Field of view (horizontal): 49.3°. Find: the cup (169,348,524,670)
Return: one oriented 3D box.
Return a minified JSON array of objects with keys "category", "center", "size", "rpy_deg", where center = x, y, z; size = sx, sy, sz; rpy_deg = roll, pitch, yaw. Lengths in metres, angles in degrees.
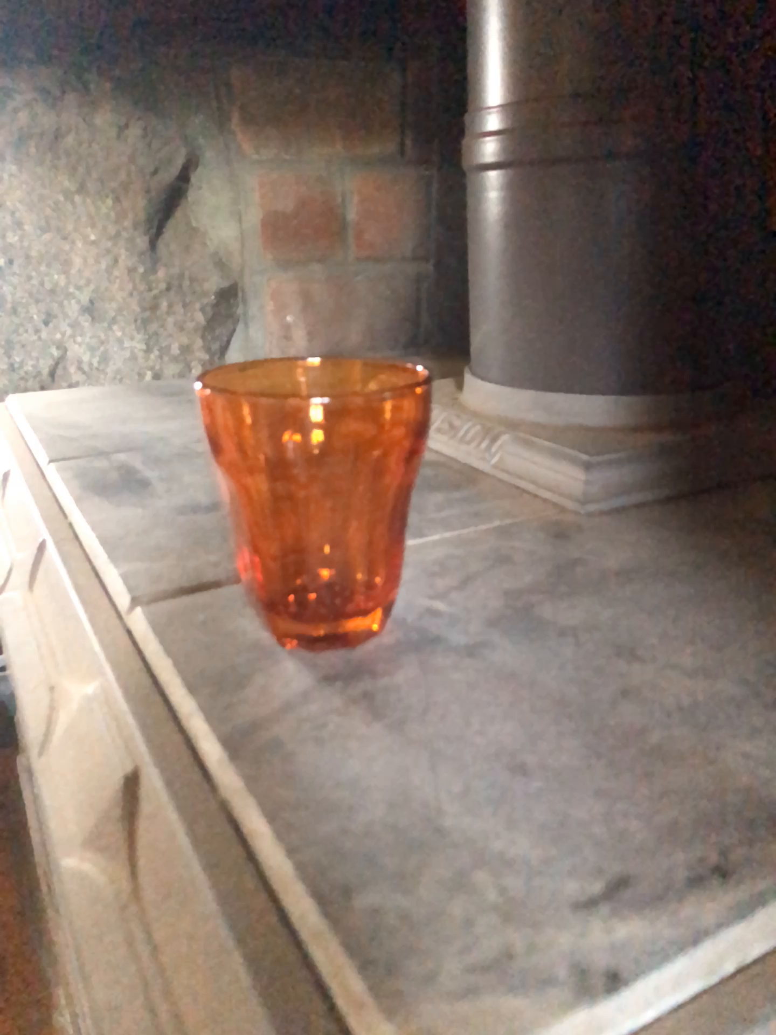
[{"category":"cup","center":[-0.015,-0.010,0.268],"size":[0.080,0.070,0.080],"rpy_deg":[-1,19,0]}]
